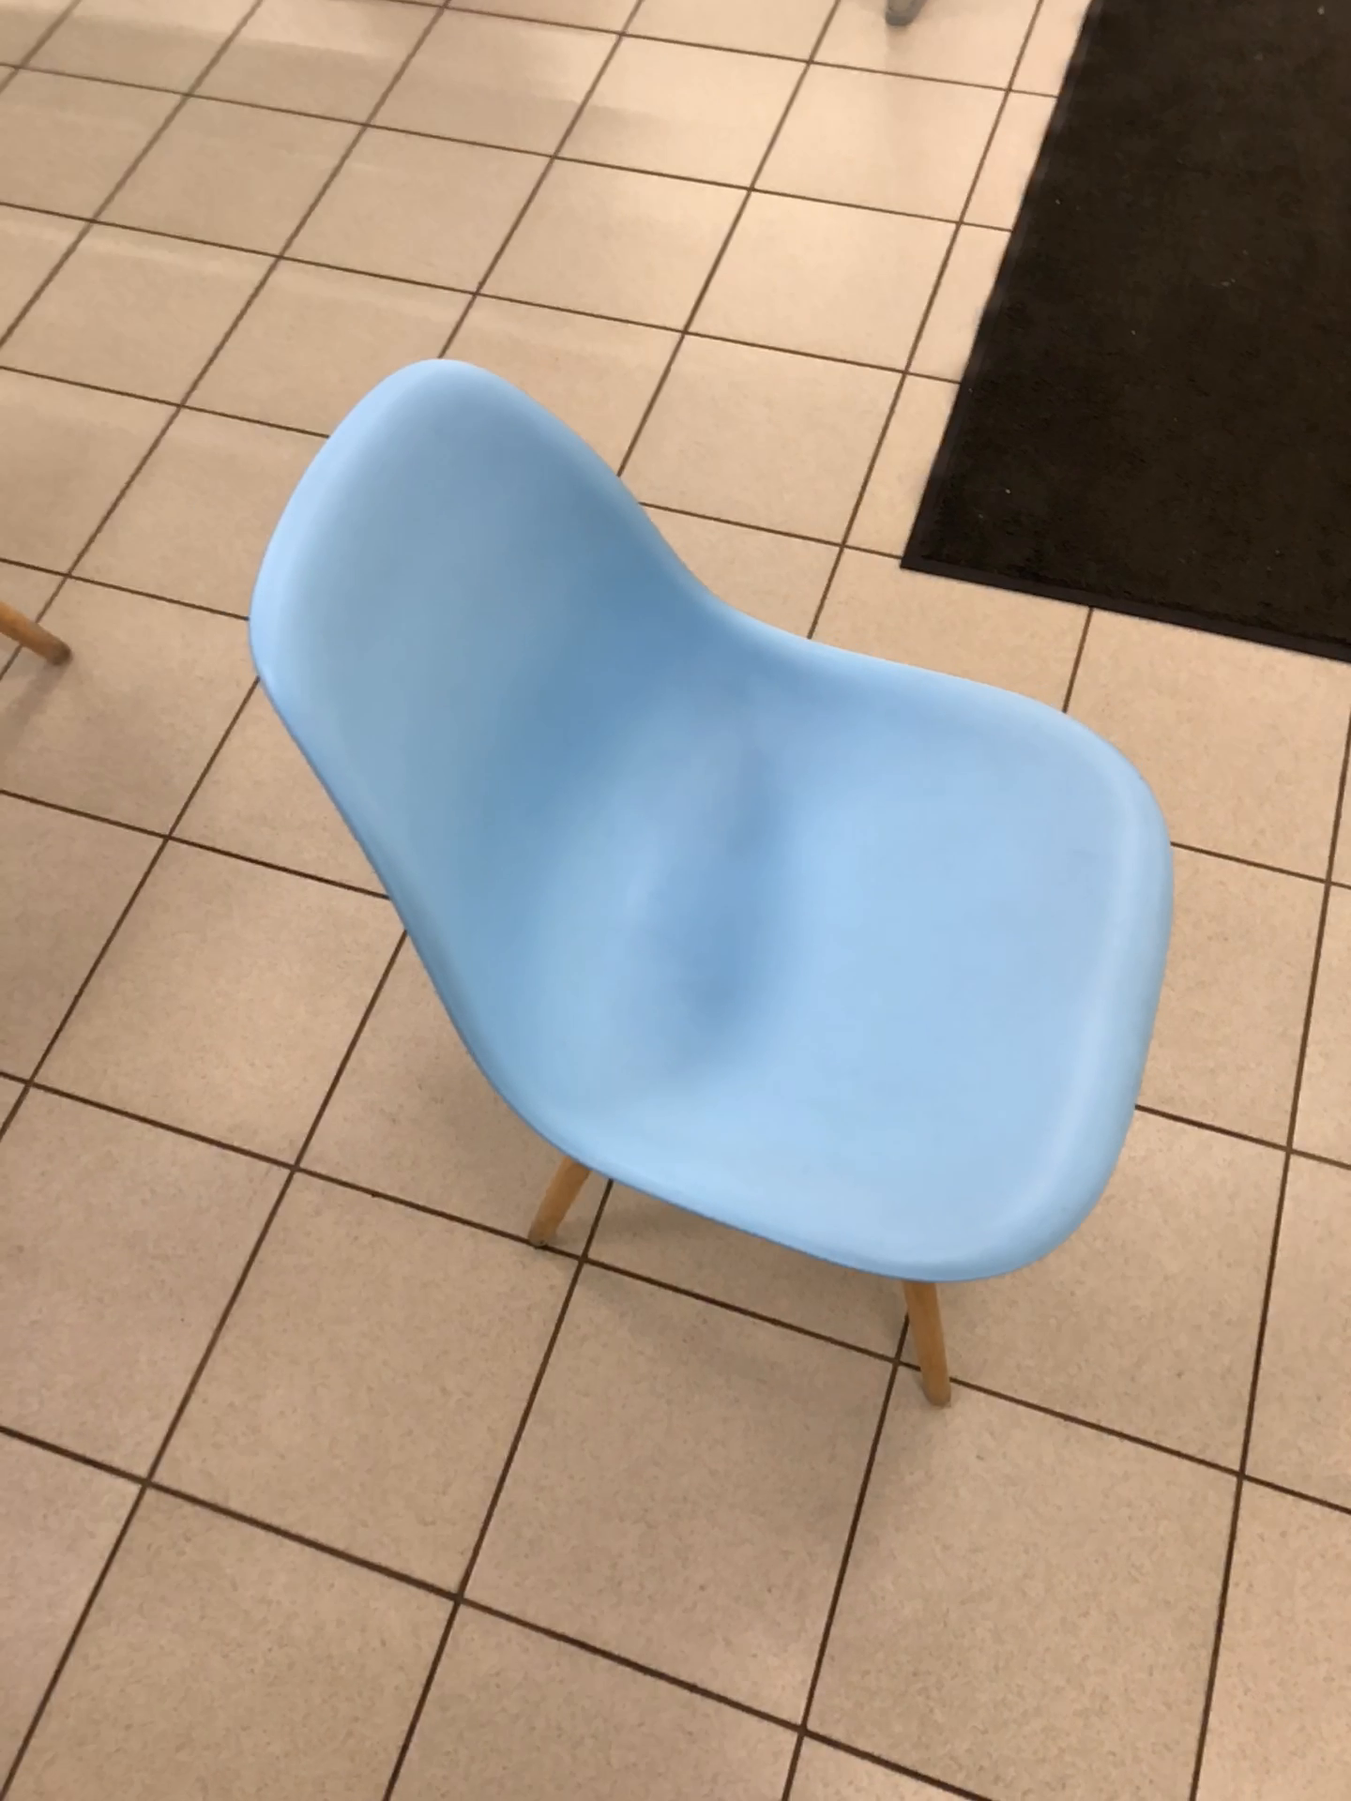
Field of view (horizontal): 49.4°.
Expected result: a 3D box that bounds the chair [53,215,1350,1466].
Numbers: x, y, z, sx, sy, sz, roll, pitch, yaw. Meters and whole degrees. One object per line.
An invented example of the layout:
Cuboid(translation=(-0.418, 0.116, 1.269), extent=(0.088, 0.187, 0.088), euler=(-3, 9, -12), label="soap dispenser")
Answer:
Cuboid(translation=(0.068, 0.032, 1.090), extent=(0.570, 0.777, 0.472), euler=(15, 63, 12), label="chair")
